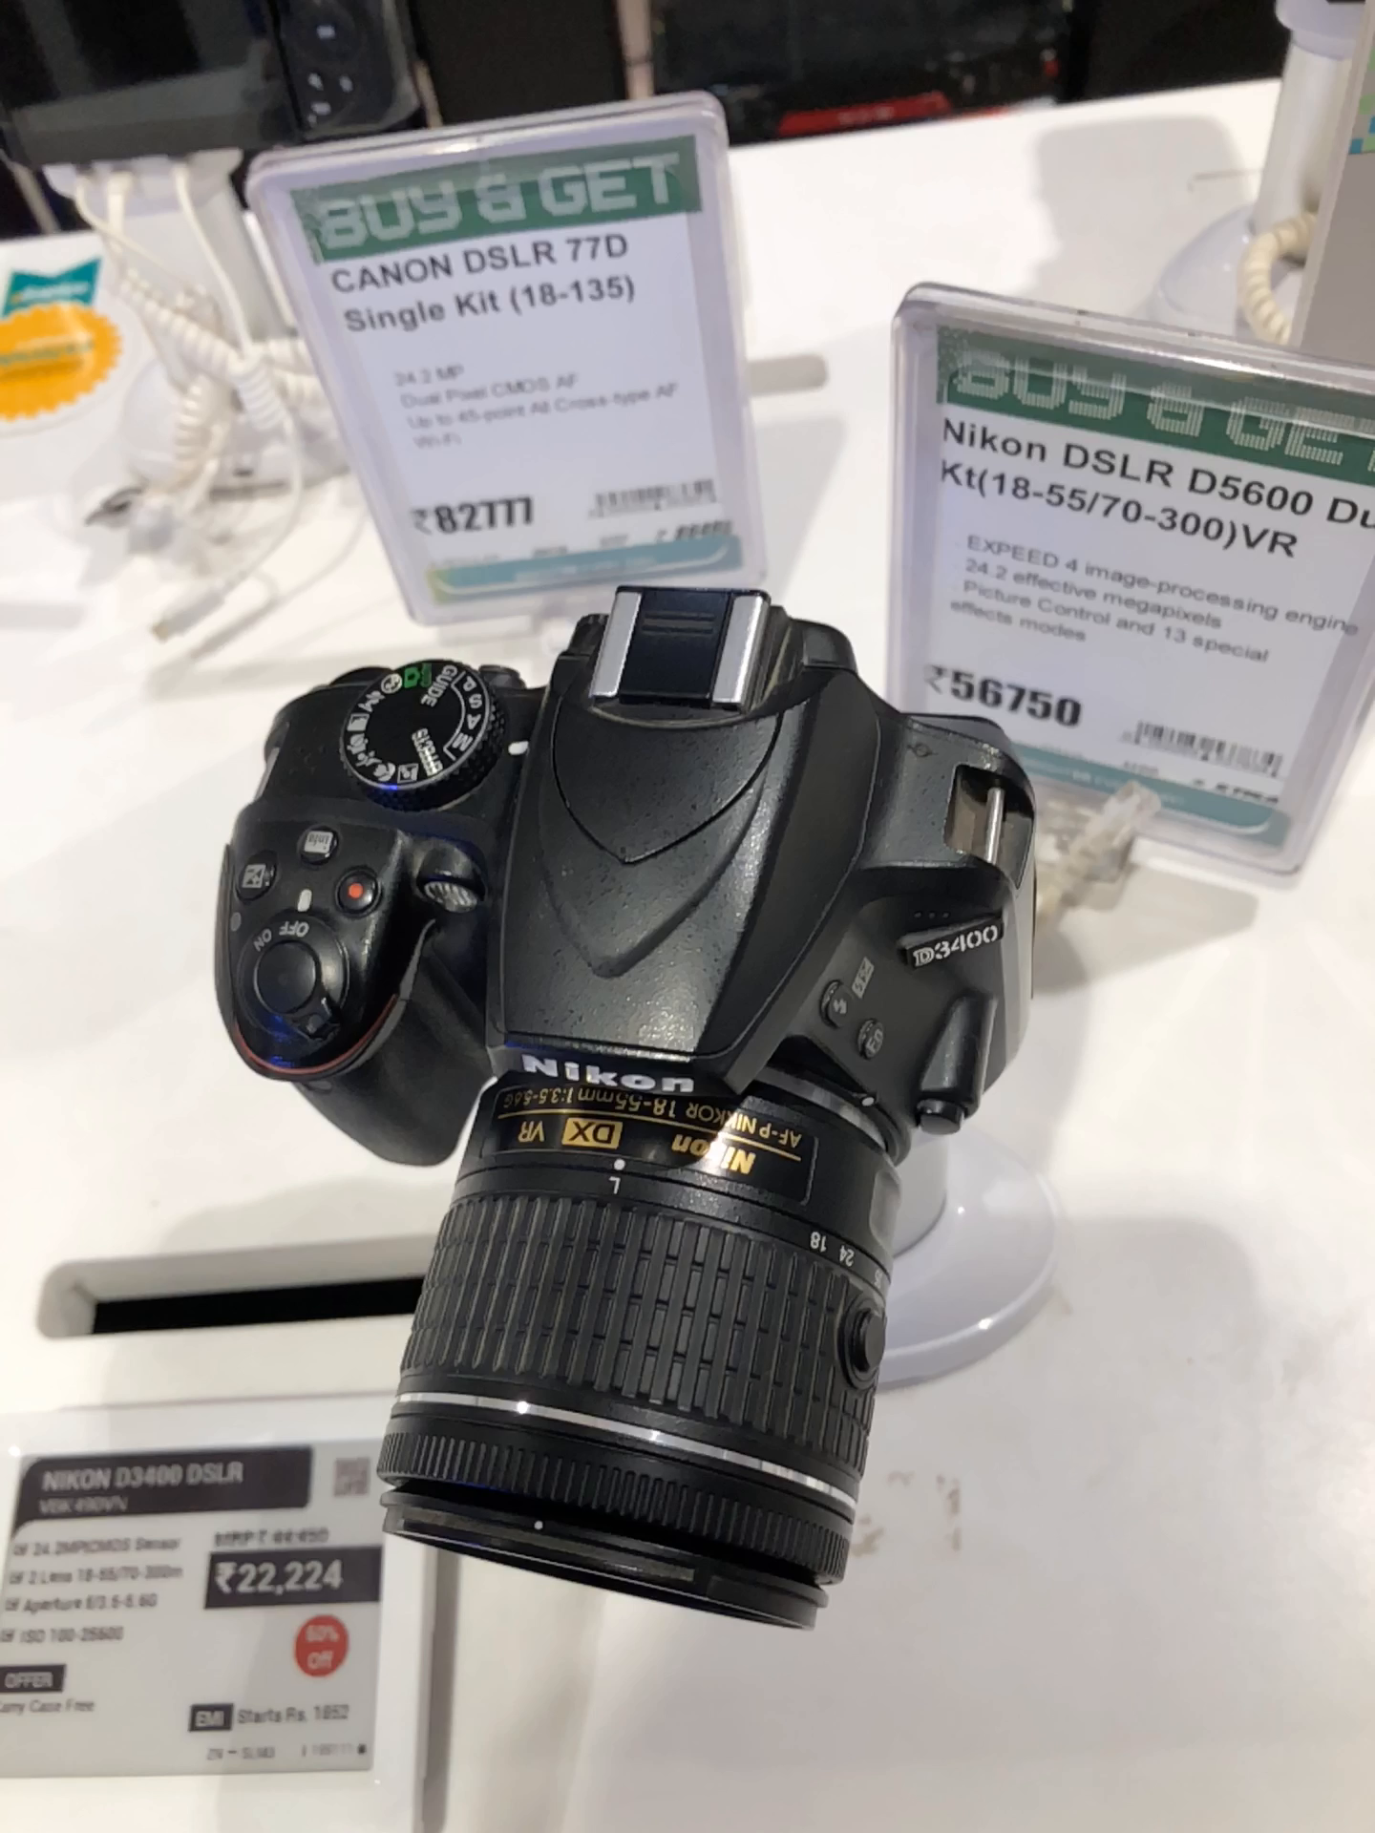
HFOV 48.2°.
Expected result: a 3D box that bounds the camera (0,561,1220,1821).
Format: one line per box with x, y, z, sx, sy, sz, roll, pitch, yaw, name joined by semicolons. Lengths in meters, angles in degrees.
-0.008;0.033;0.197;0.130;0.090;0.120;5;59;11;camera
